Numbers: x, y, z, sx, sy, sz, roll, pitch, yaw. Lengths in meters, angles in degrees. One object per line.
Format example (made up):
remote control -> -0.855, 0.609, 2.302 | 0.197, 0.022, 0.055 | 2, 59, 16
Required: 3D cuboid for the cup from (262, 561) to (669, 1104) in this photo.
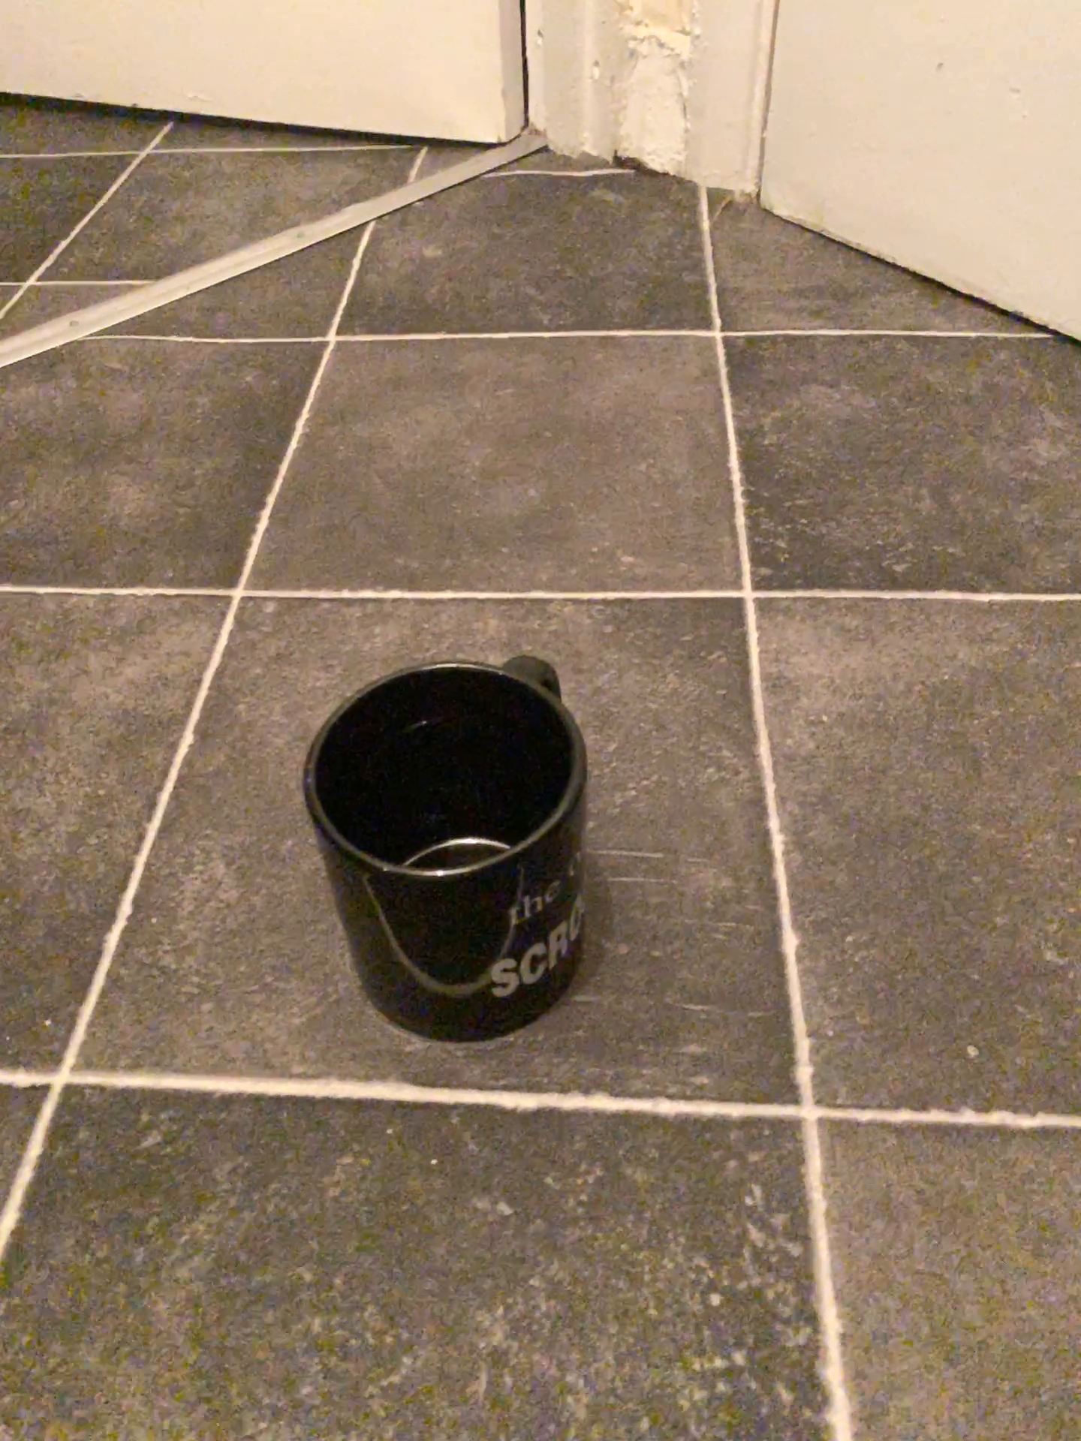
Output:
cup -> -0.015, 0.035, 0.366 | 0.080, 0.115, 0.118 | 14, 49, 16
